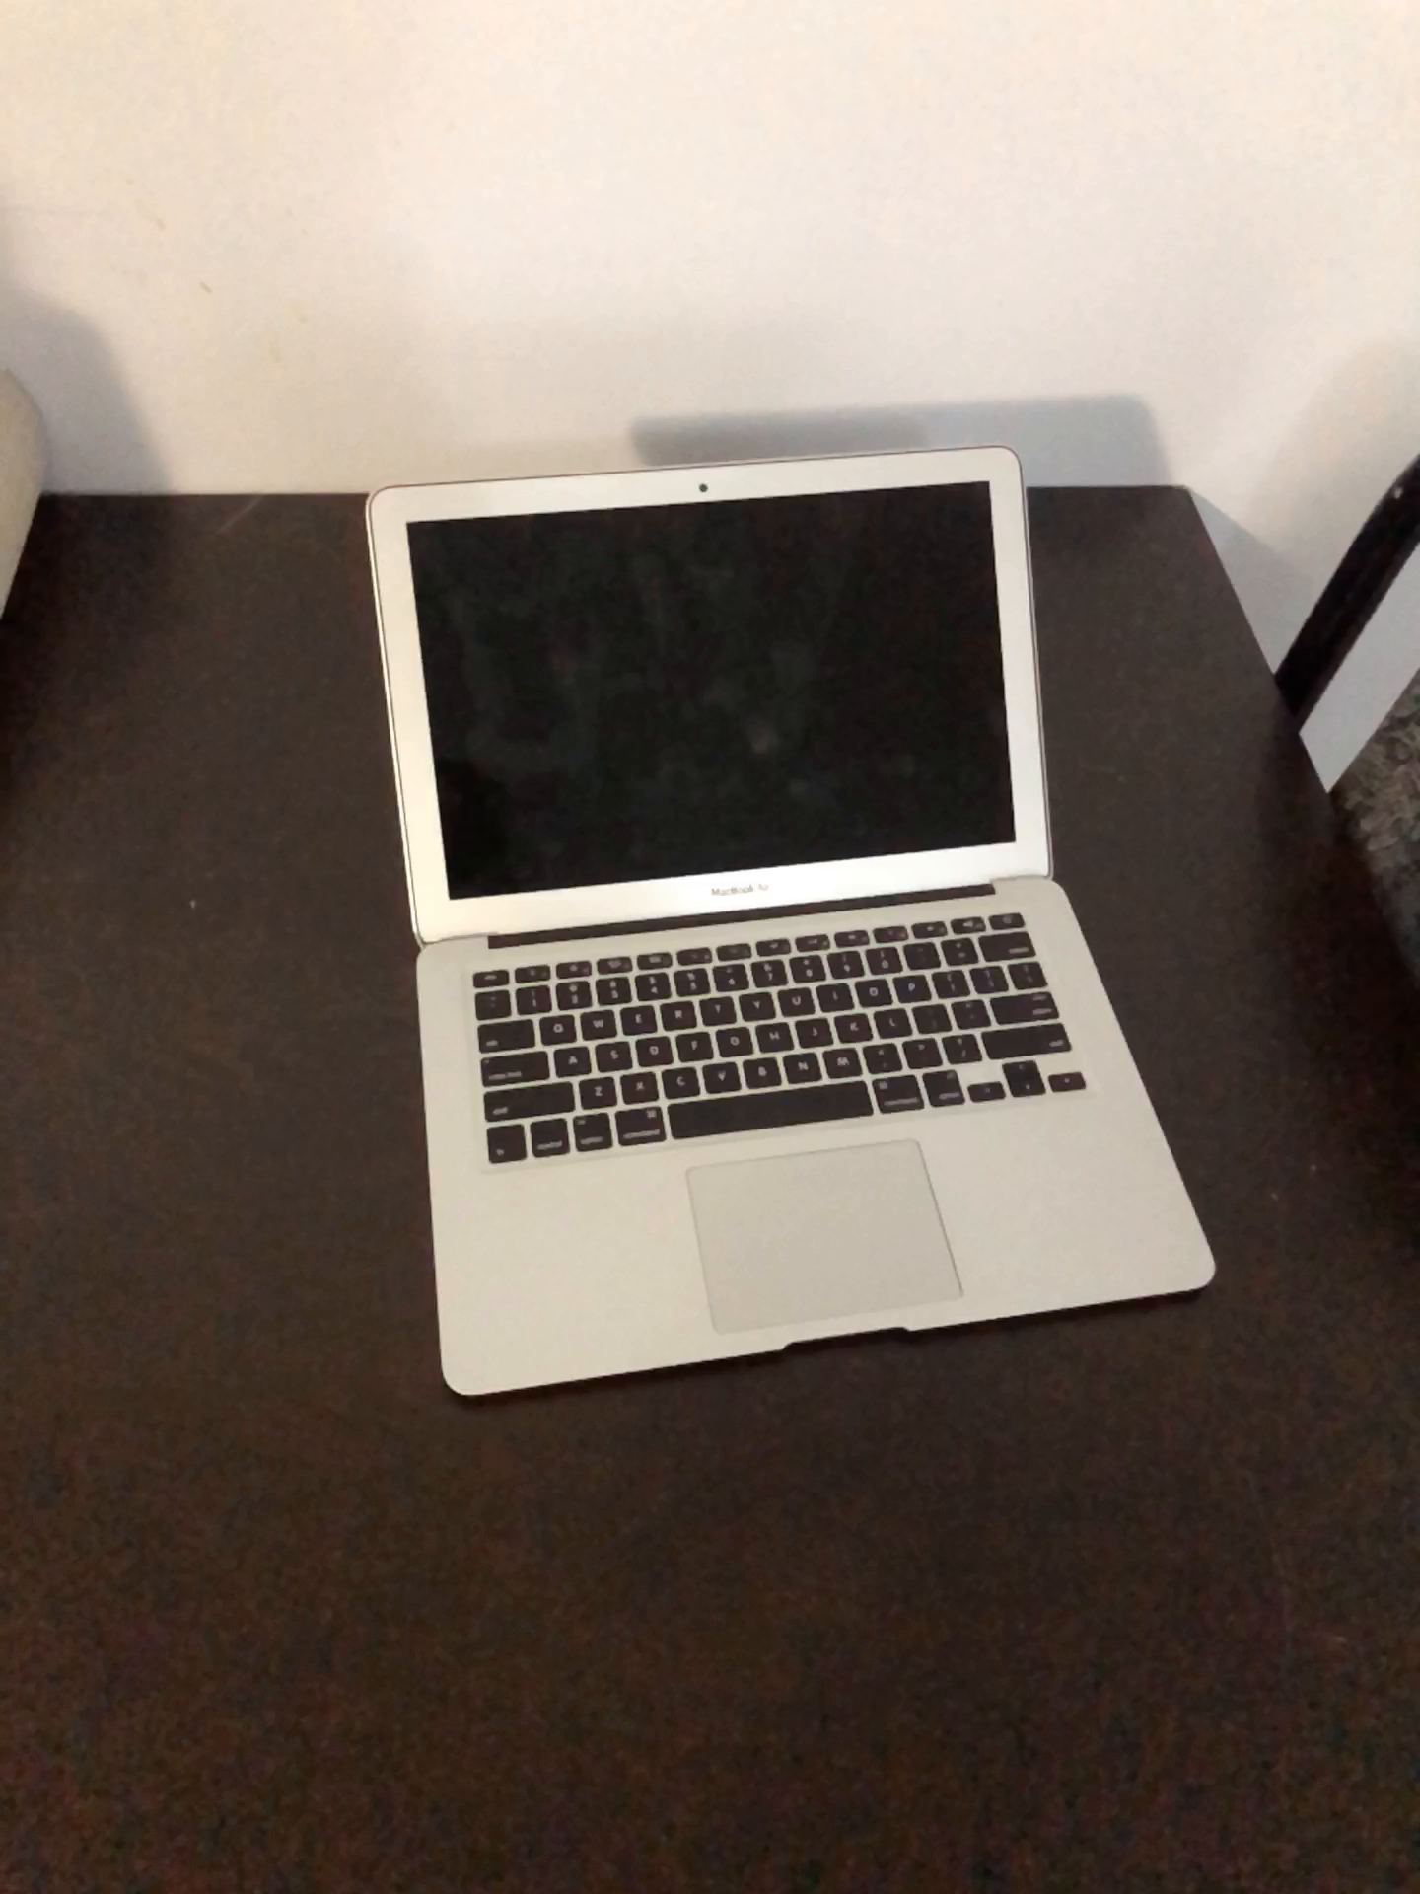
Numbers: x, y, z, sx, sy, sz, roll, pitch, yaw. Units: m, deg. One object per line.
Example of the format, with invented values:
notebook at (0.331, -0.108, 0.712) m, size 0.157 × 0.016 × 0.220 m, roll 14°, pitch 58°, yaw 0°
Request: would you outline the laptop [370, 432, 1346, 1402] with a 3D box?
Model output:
laptop at (0.025, -0.037, 0.647) m, size 0.303 × 0.136 × 0.362 m, roll -6°, pitch 52°, yaw -7°
